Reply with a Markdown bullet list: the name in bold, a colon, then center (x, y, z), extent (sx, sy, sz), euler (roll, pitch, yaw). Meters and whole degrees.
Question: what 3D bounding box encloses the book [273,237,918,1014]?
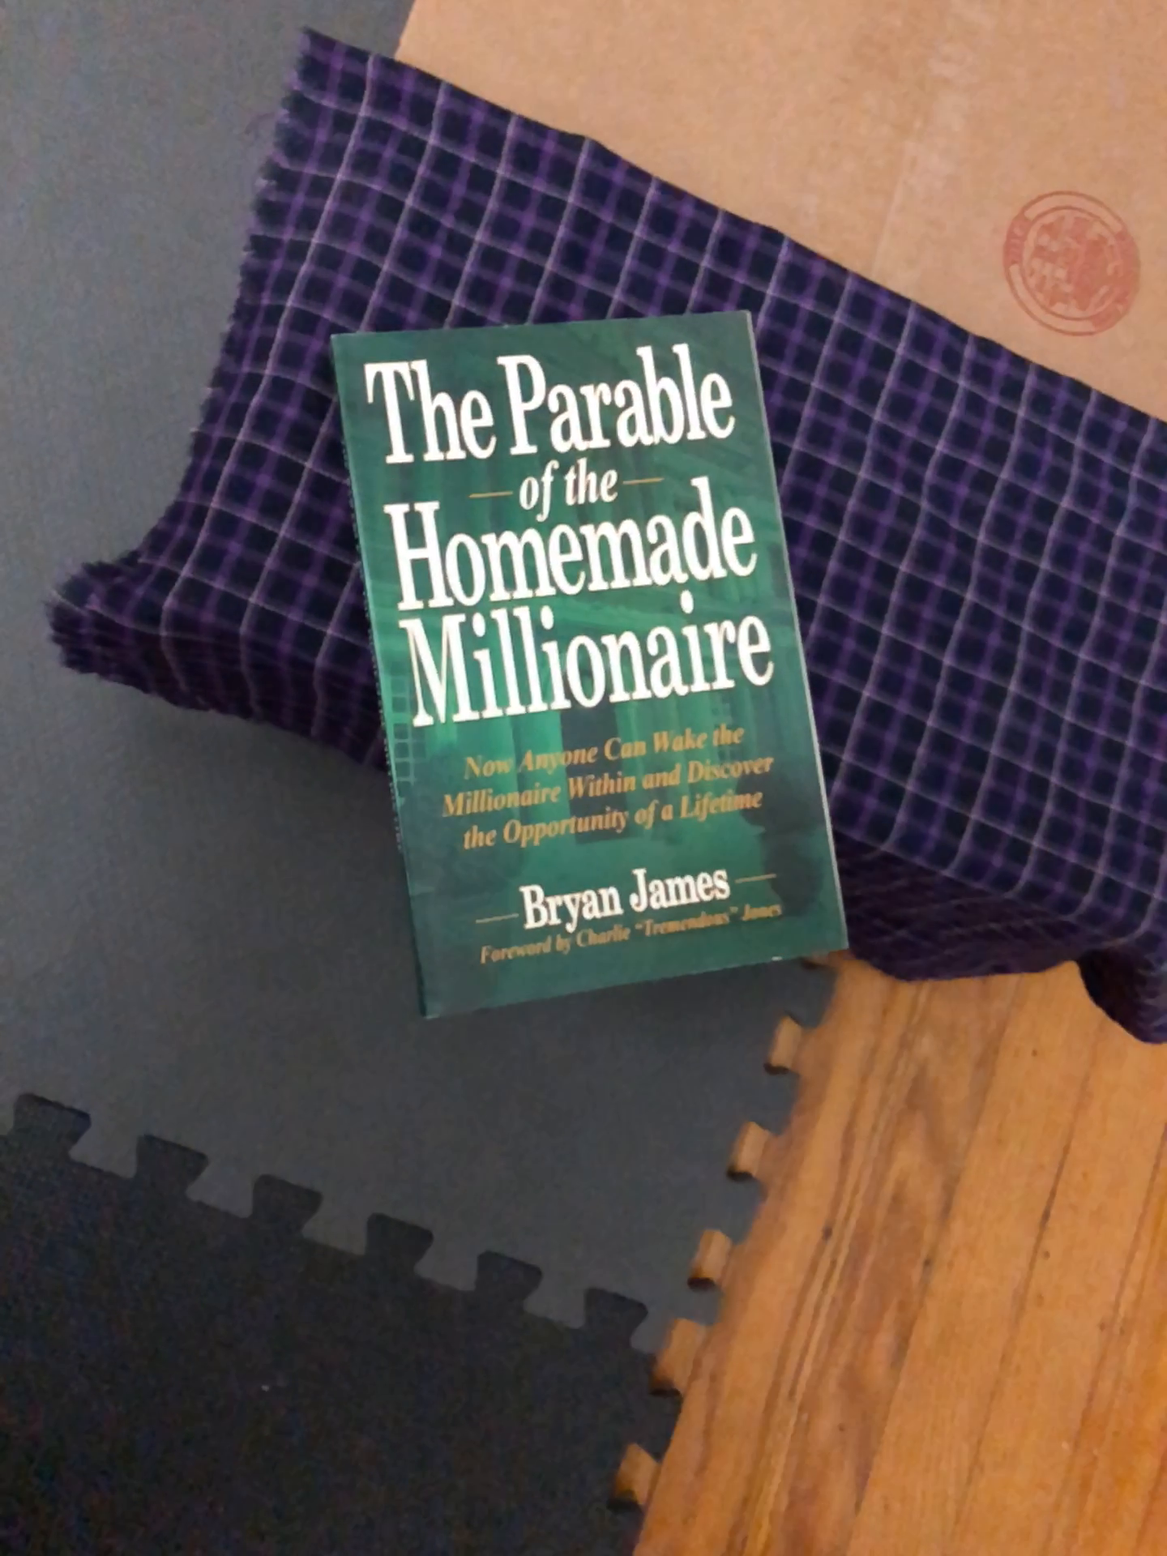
- **book**: center (0.004, -0.050, 0.383), extent (0.160, 0.020, 0.210), euler (-8, 87, -11)
